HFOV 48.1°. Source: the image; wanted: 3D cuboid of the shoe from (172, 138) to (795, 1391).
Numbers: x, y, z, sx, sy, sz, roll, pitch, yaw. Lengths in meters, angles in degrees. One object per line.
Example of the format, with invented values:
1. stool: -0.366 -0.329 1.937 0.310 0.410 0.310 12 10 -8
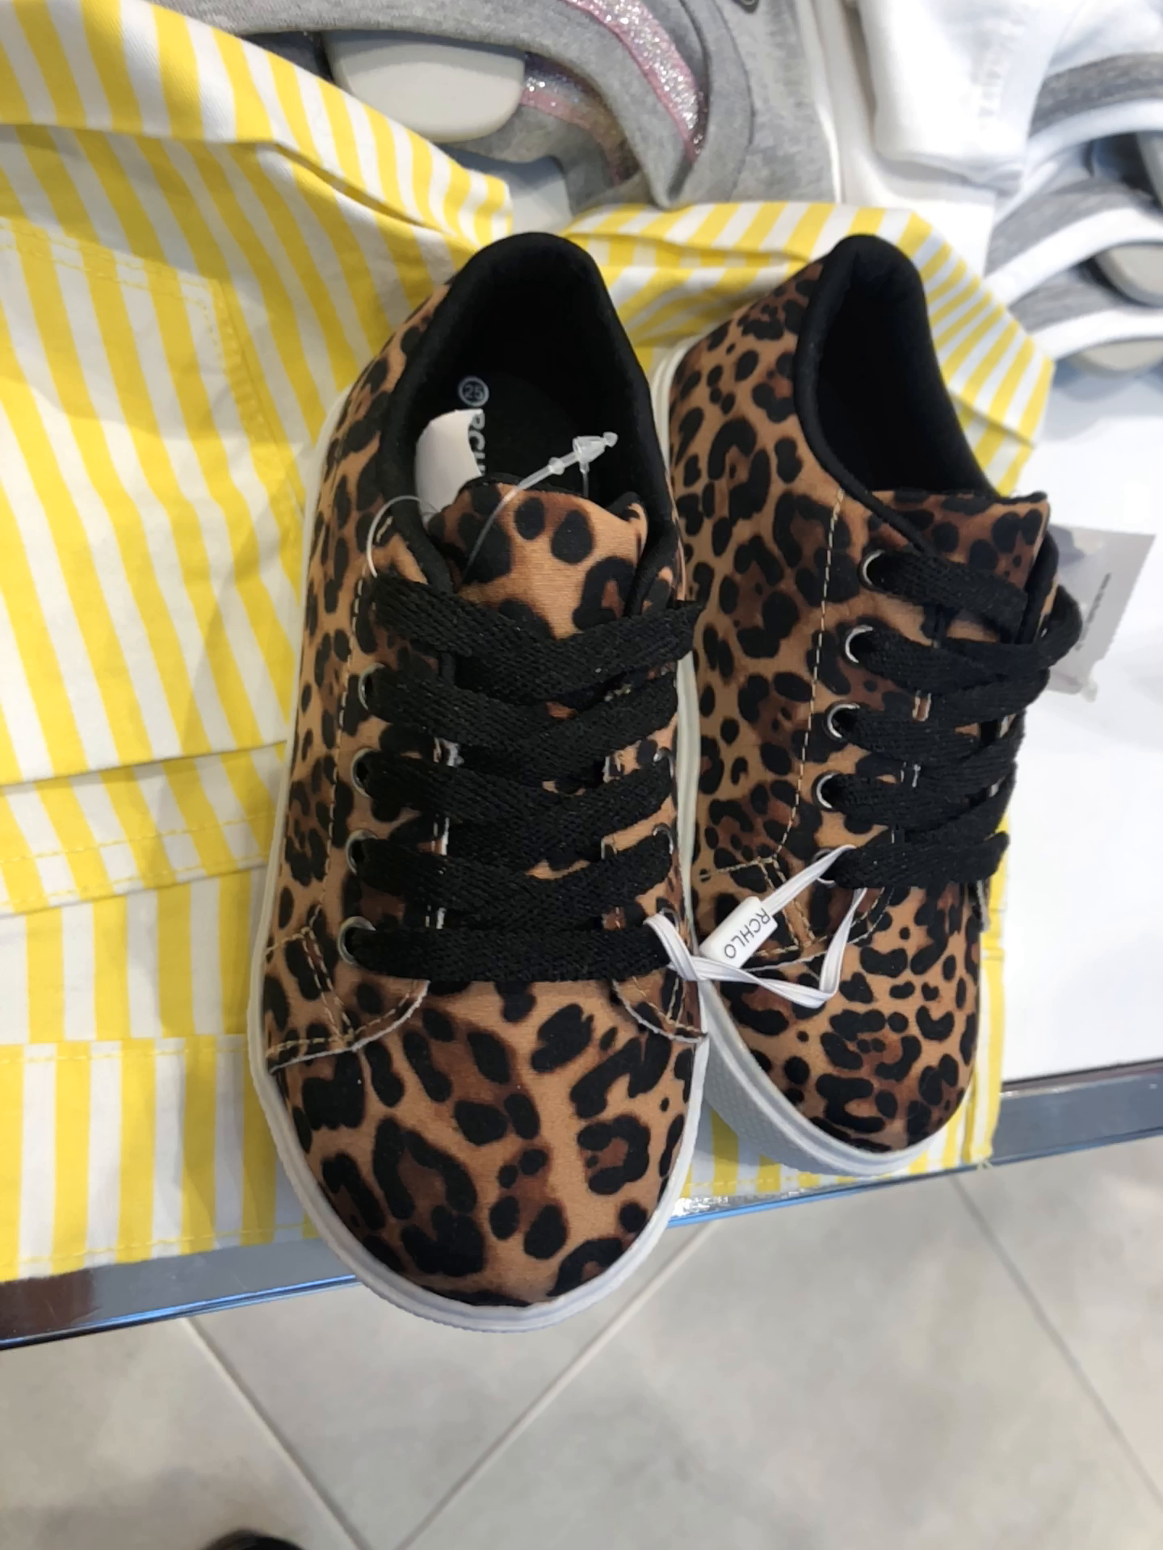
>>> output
1. shoe: -0.015 -0.003 0.207 0.080 0.060 0.170 -1 84 -3

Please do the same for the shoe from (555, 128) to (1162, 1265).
1. shoe: 0.050 -0.010 0.246 0.080 0.080 0.170 4 82 -30
